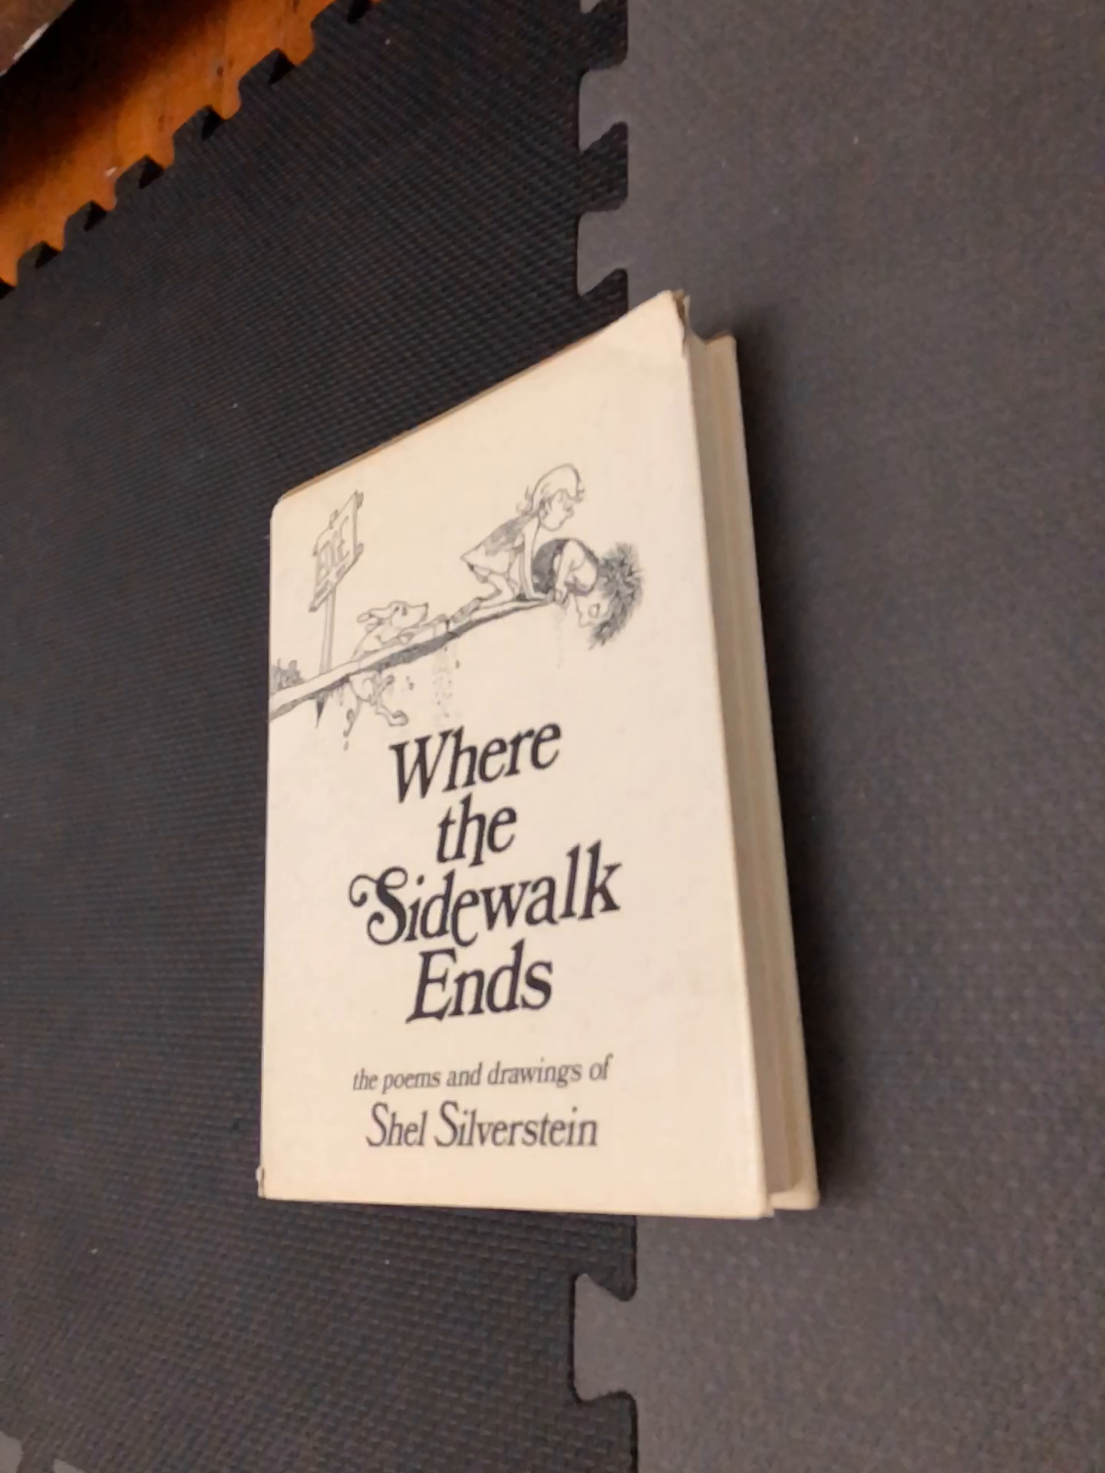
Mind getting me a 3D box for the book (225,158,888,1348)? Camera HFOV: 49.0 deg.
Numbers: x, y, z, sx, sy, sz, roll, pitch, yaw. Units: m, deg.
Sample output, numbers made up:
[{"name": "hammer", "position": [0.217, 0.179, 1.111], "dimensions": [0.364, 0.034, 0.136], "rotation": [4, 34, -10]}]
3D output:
[{"name": "book", "position": [-0.017, 0.007, 0.350], "dimensions": [0.201, 0.030, 0.280], "rotation": [-14, 70, 39]}]
